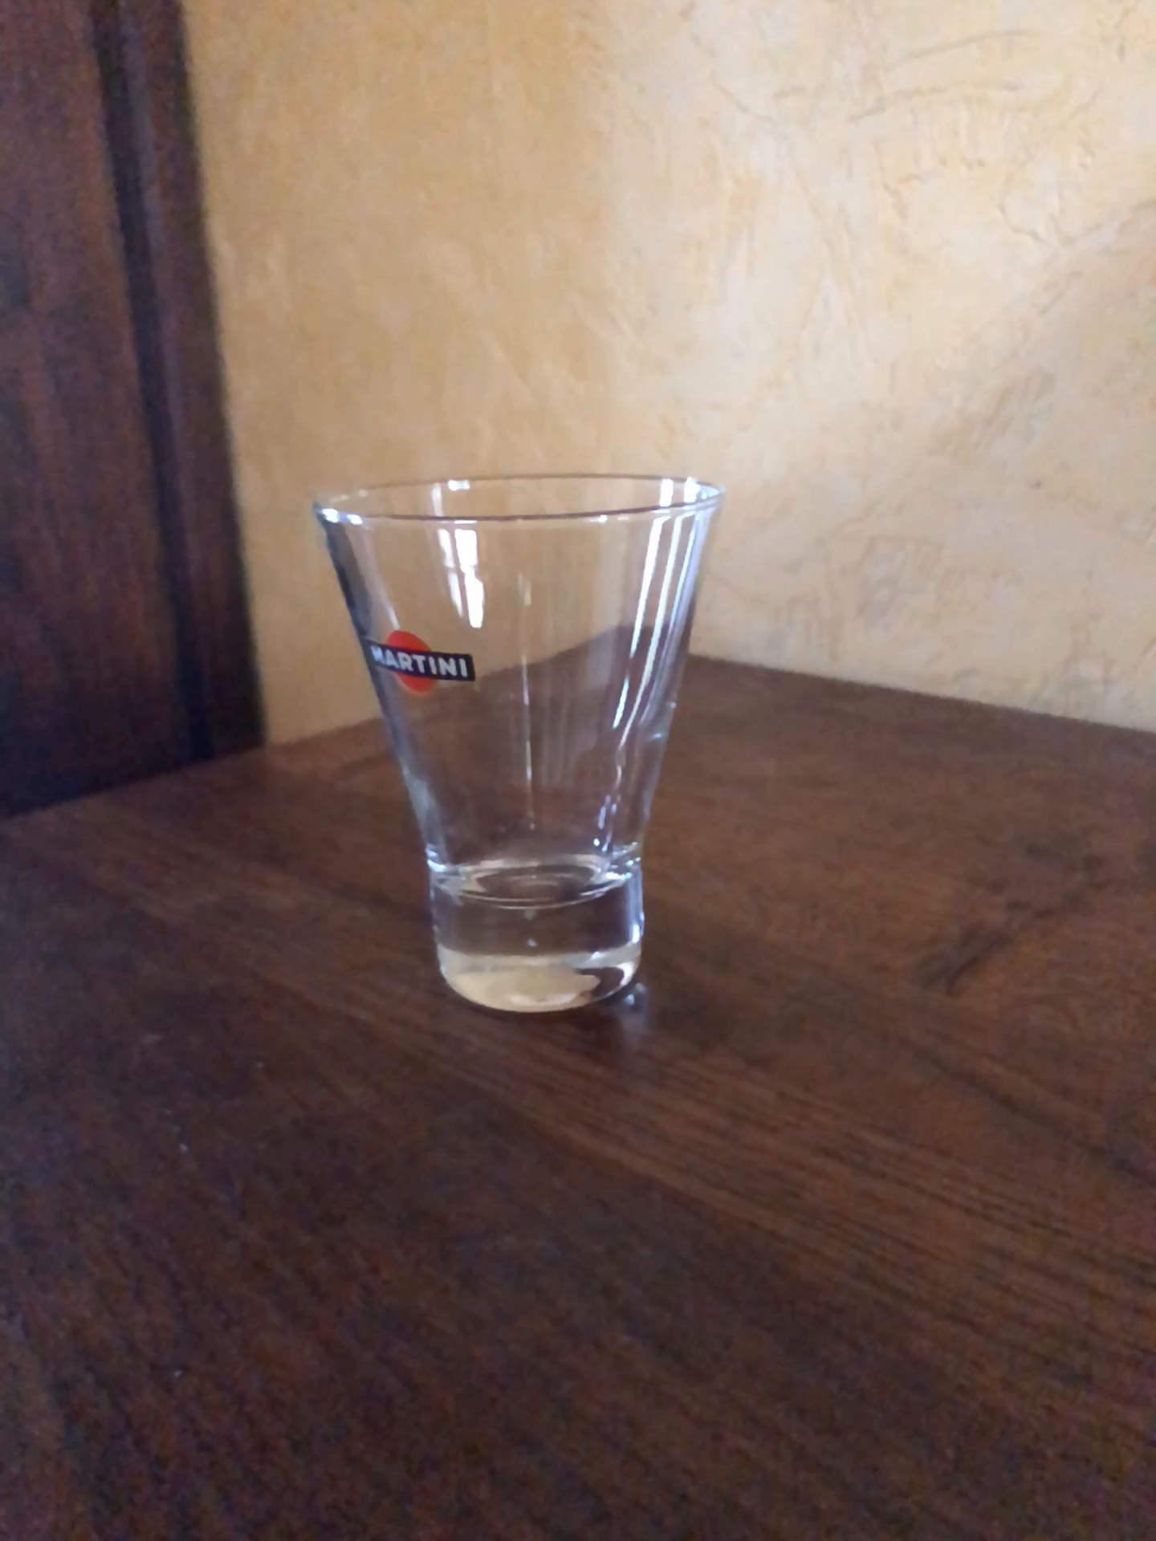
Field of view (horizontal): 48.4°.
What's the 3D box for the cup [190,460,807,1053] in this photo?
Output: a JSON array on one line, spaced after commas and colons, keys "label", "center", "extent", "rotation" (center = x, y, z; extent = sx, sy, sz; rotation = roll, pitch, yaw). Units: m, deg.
[{"label": "cup", "center": [-0.012, -0.014, 0.291], "extent": [0.090, 0.100, 0.100], "rotation": [10, 21, 33]}]
